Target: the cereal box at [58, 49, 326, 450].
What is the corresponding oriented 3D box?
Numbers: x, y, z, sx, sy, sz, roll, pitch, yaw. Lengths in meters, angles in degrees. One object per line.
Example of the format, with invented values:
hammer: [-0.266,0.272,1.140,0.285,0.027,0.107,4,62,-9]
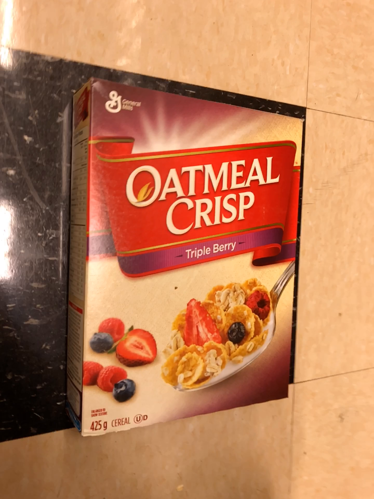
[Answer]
cereal box: [0.007,0.001,0.332,0.201,0.070,0.250,0,93,-27]
